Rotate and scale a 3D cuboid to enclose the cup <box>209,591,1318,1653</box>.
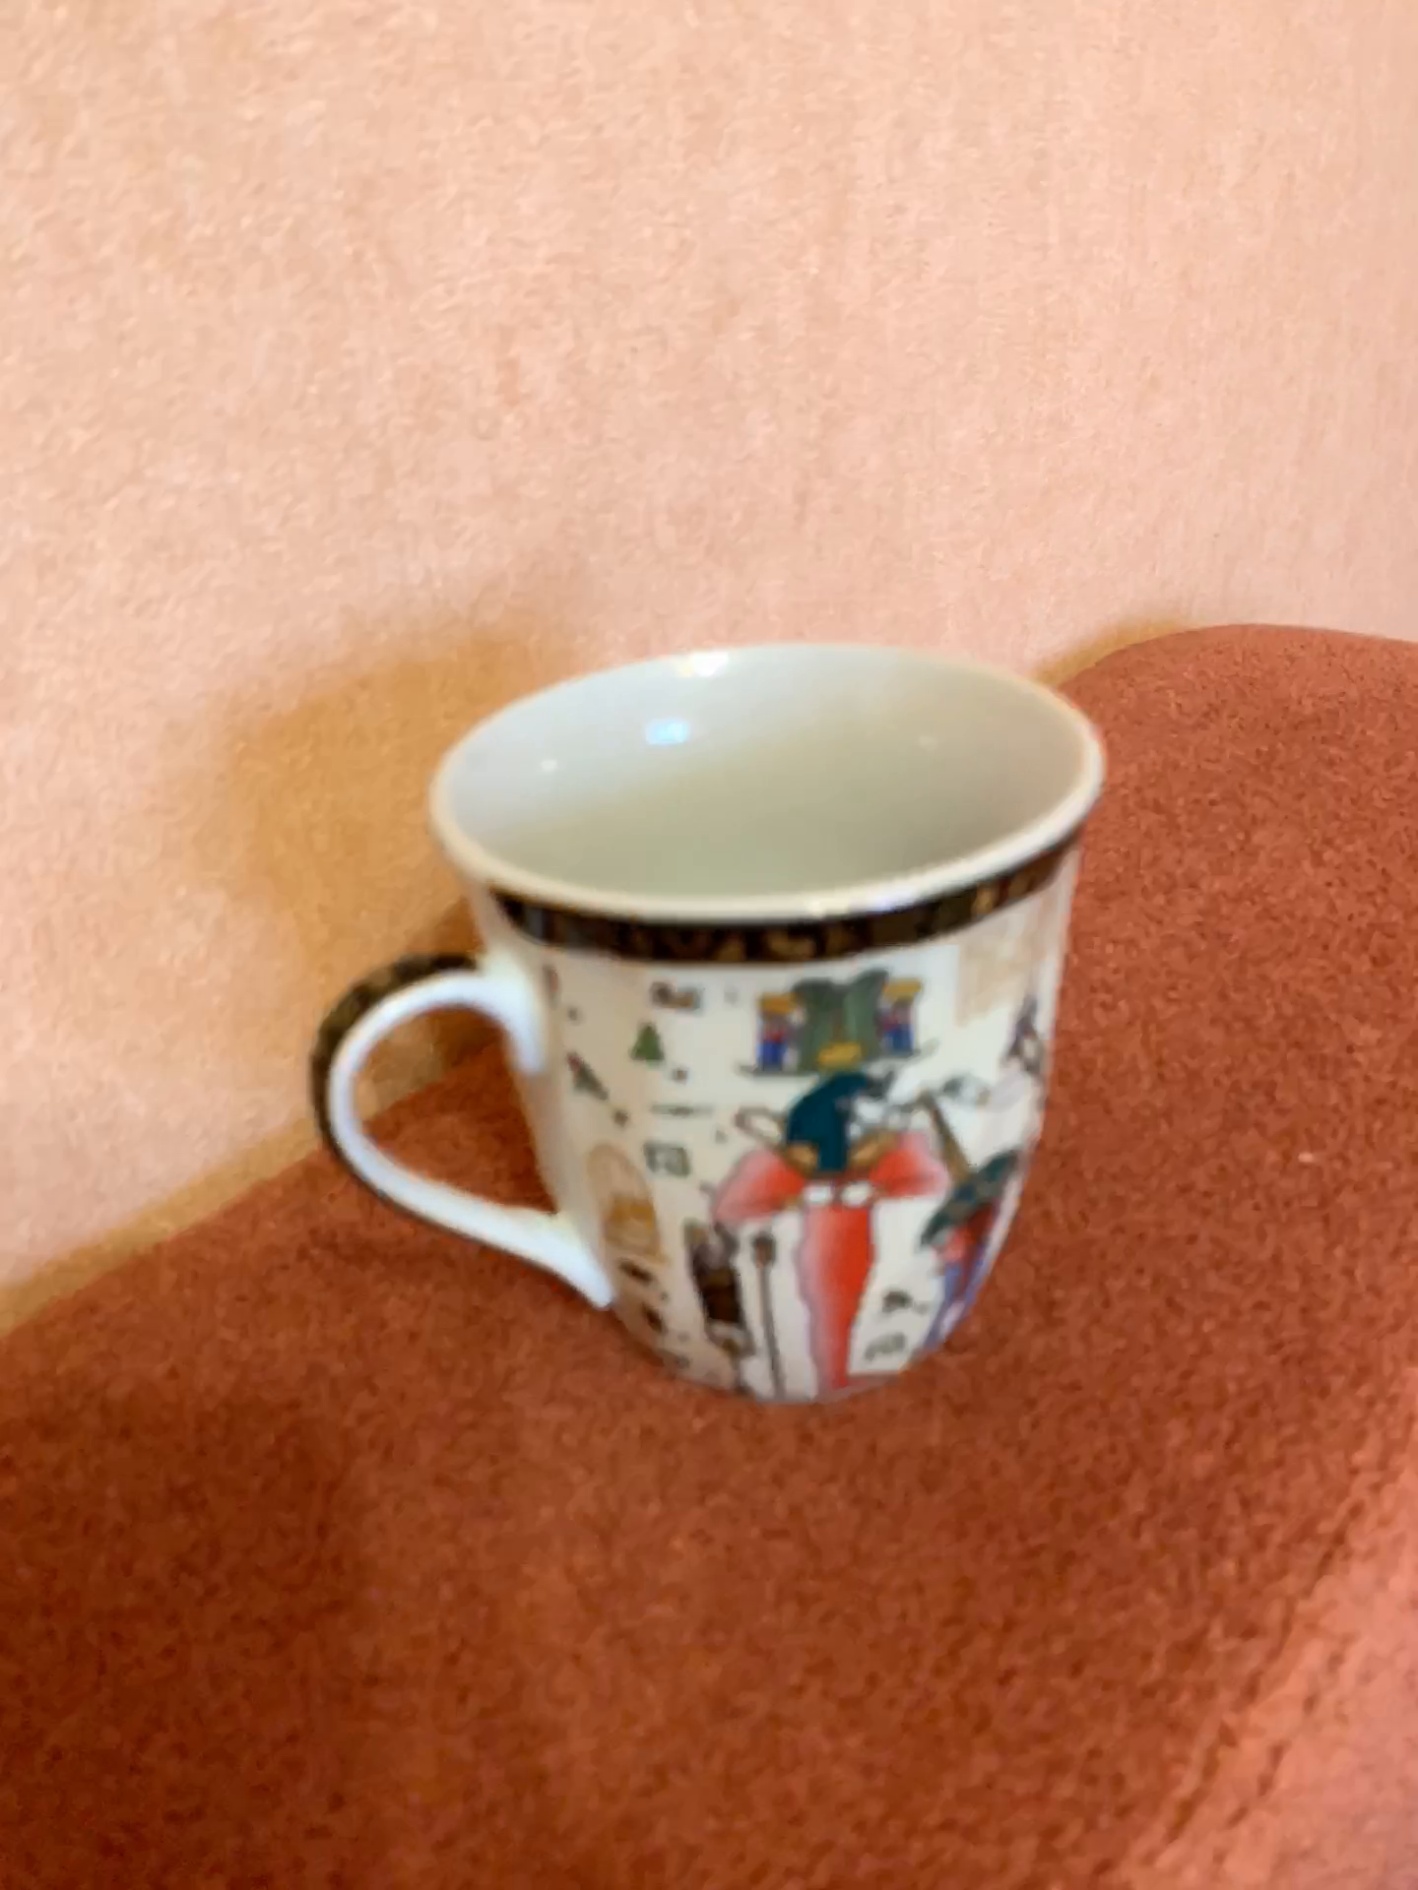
[{"bbox_3d":[0.005,0.014,0.209,0.115,0.087,0.086,-18,35,-21],"label":"cup"}]
